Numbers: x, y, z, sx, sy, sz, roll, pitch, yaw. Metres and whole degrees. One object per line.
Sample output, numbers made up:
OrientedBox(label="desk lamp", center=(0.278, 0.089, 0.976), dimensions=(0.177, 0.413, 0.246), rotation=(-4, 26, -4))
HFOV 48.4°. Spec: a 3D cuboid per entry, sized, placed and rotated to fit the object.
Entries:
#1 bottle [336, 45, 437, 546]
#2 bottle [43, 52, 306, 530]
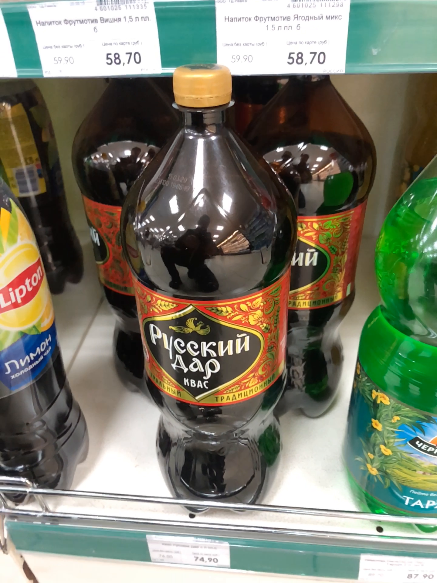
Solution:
OrientedBox(label="bottle", center=(0.143, 0.031, 0.313), dimensions=(0.099, 0.327, 0.085), rotation=(4, 36, 10))
OrientedBox(label="bottle", center=(-0.006, 0.022, 0.335), dimensions=(0.110, 0.322, 0.101), rotation=(-2, 36, 2))
